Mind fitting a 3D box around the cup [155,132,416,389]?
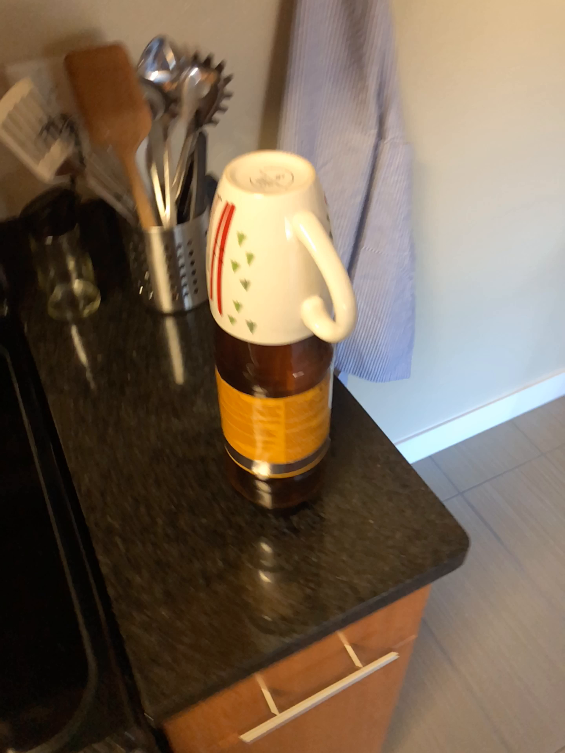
[{"bbox_3d":[0.001,-0.088,0.448,0.140,0.109,0.100,29,50,29],"label":"cup"}]
